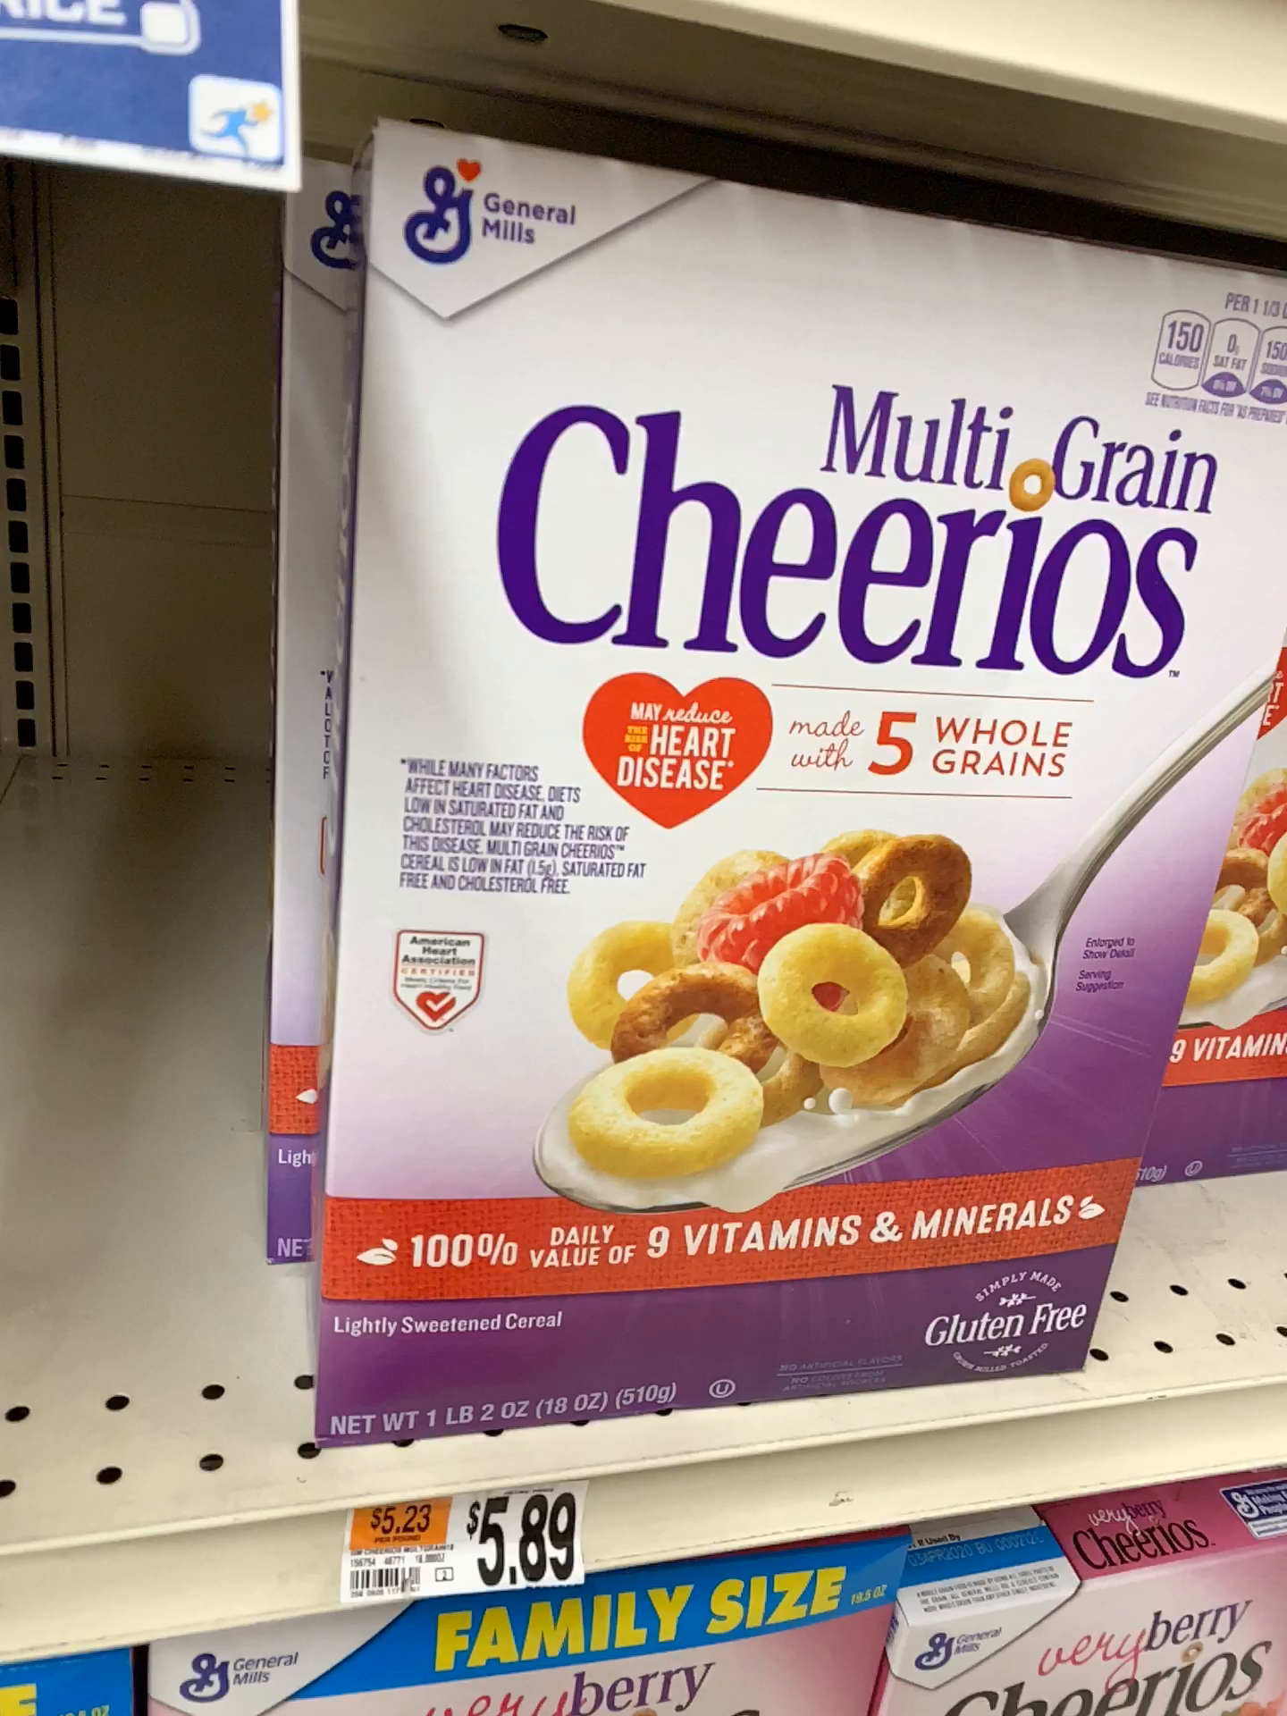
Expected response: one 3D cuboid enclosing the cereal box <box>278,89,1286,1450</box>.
[{"bbox_3d":[0.033,-0.004,0.363,0.250,0.319,0.070,1,20,-17],"label":"cereal box"}]
